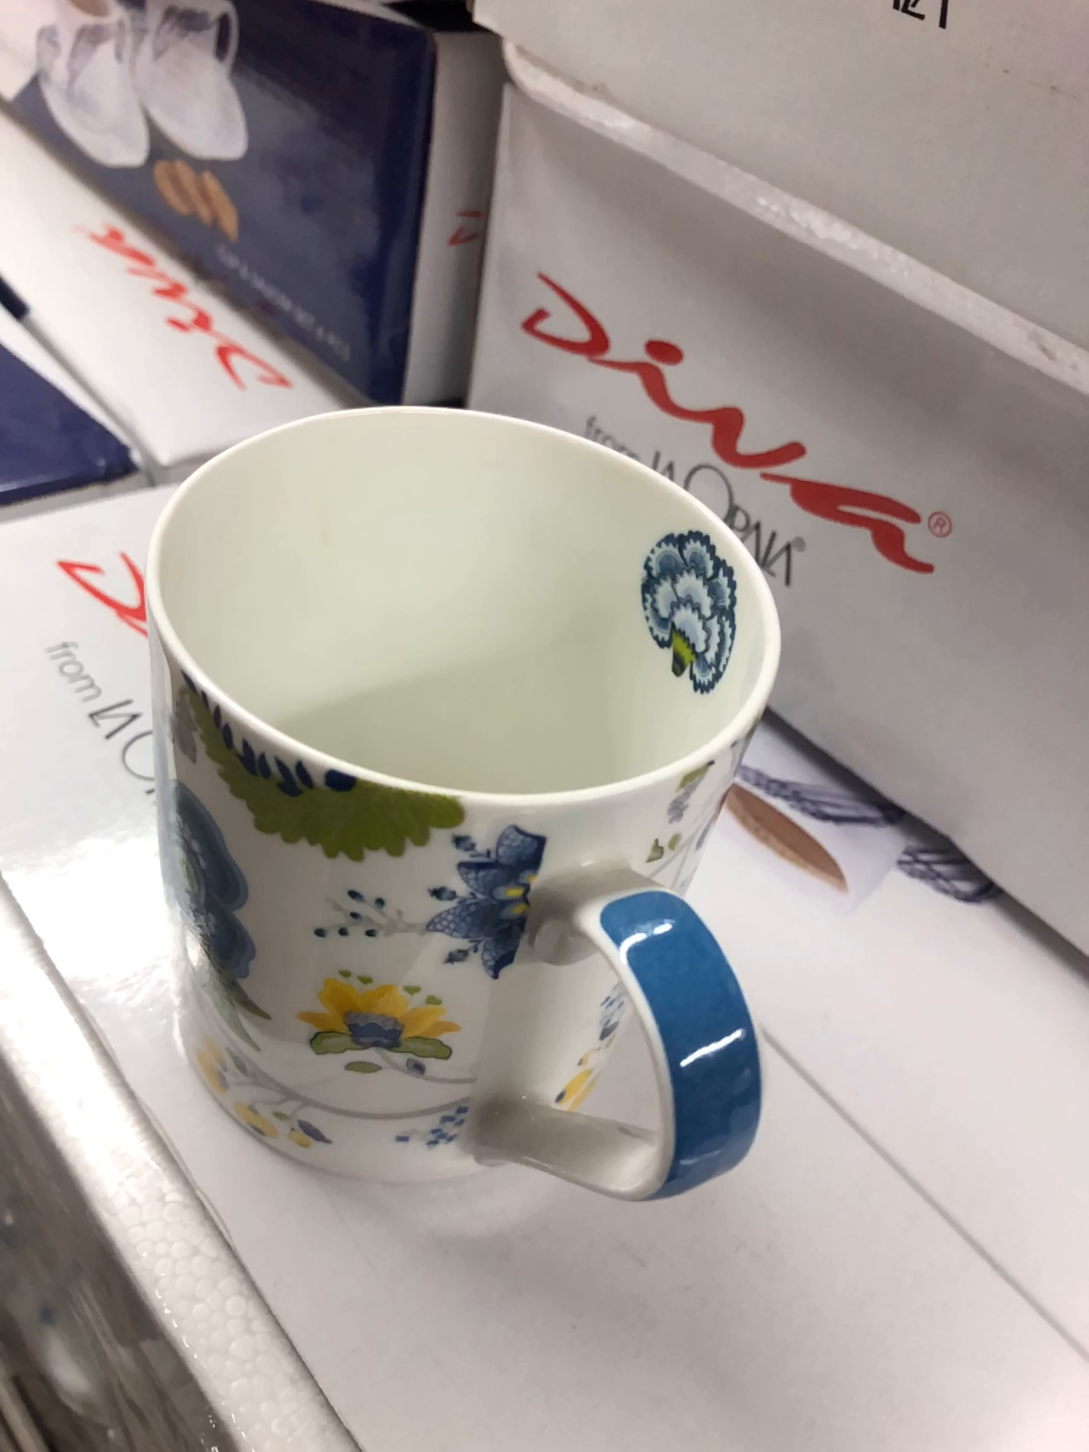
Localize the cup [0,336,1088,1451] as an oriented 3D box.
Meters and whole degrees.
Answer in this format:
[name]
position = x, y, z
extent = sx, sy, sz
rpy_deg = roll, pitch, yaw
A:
[cup]
position = -0.011, 0.018, 0.160
extent = 0.080, 0.079, 0.110
rpy_deg = -22, 53, -31
